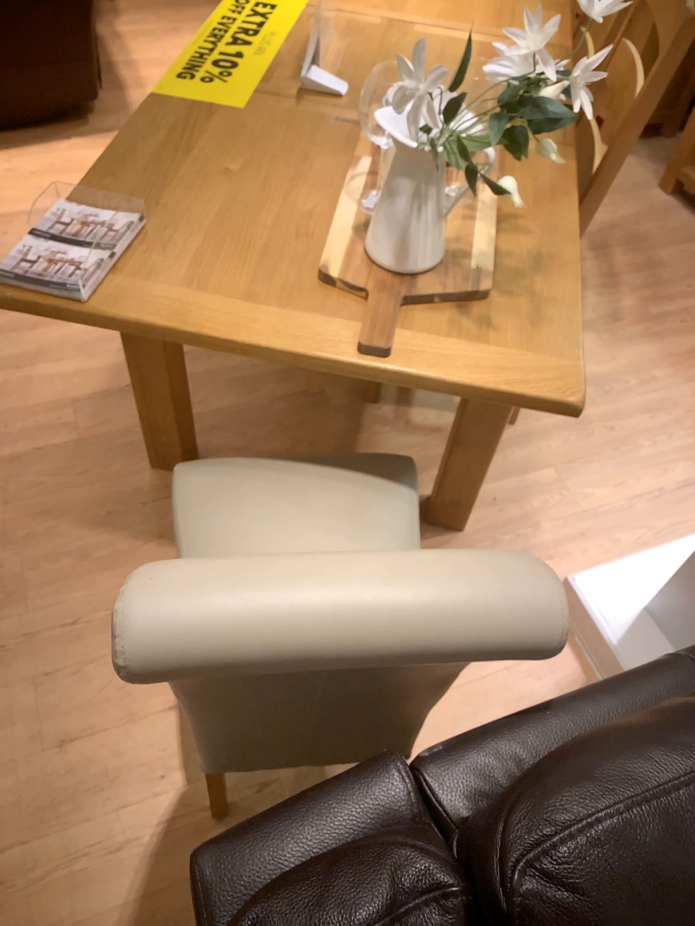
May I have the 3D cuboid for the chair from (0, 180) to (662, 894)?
[{"bbox_3d":[-0.063,0.192,1.073,0.476,0.945,0.639,-1,52,-6],"label":"chair"}]
